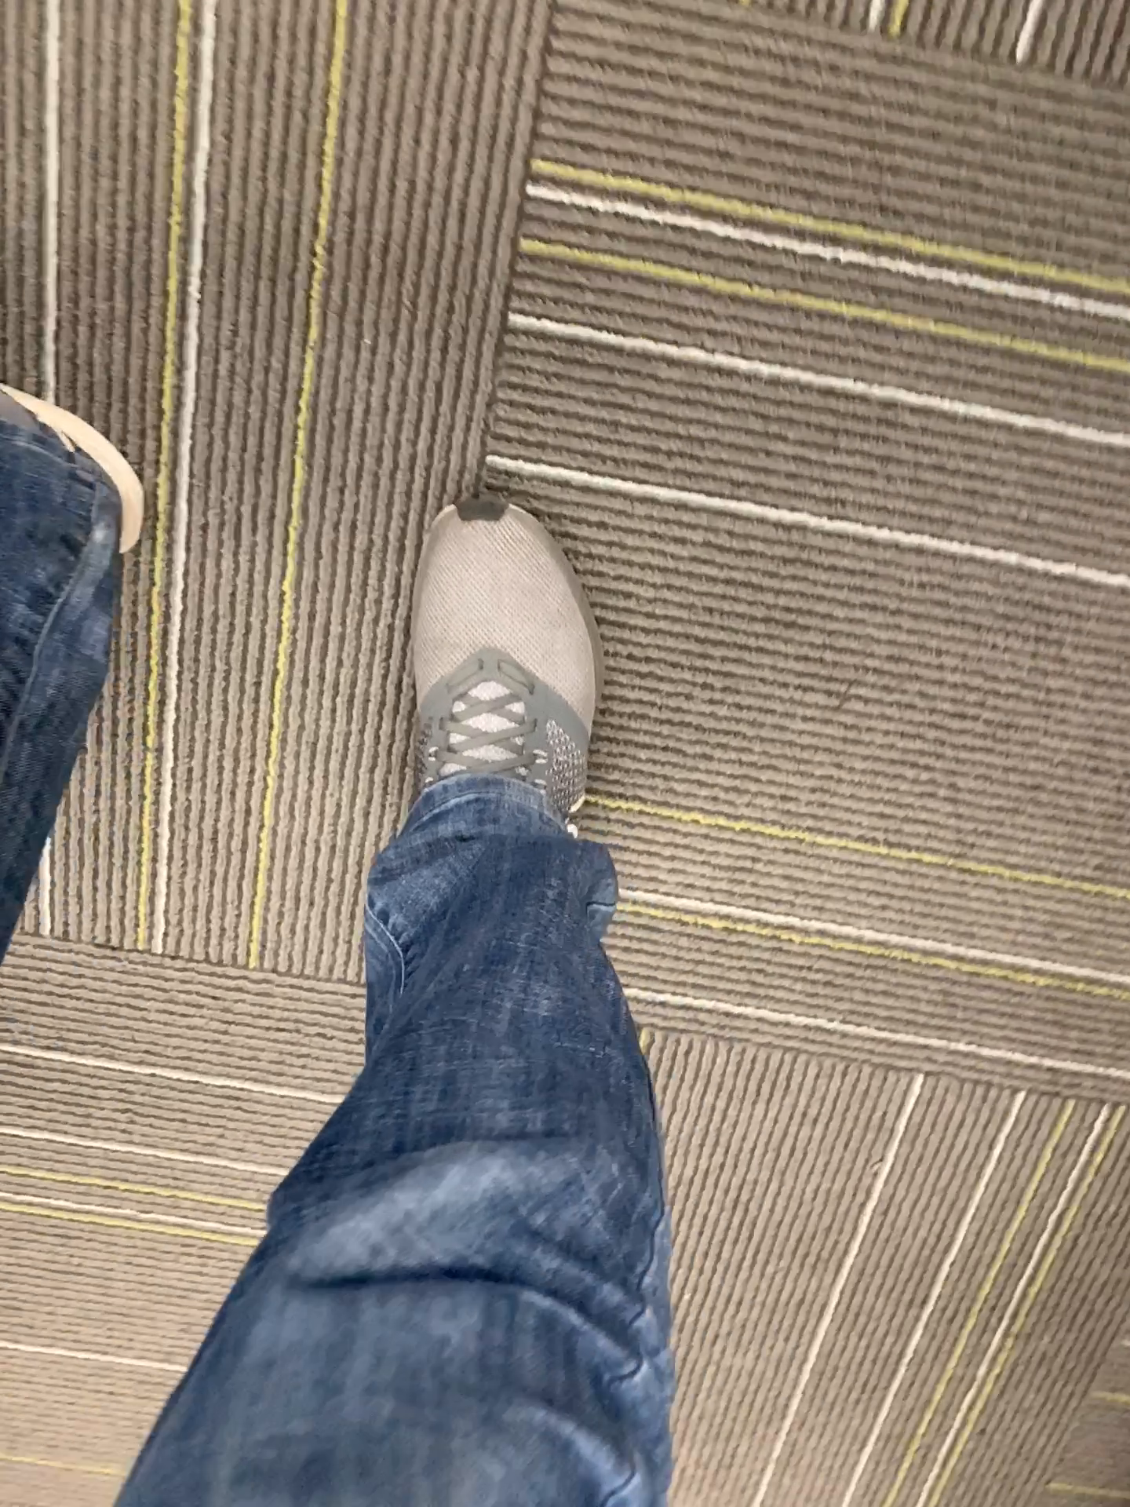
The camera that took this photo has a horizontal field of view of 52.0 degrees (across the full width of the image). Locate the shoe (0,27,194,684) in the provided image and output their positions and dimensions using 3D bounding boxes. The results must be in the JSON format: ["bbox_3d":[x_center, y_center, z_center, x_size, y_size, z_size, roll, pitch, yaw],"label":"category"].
[{"bbox_3d":[-0.376,-0.194,0.604,0.313,0.093,0.131,38,109,-14],"label":"shoe"}]

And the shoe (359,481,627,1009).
[{"bbox_3d":[-0.033,0.000,0.697,0.128,0.093,0.300,-3,114,2],"label":"shoe"}]
